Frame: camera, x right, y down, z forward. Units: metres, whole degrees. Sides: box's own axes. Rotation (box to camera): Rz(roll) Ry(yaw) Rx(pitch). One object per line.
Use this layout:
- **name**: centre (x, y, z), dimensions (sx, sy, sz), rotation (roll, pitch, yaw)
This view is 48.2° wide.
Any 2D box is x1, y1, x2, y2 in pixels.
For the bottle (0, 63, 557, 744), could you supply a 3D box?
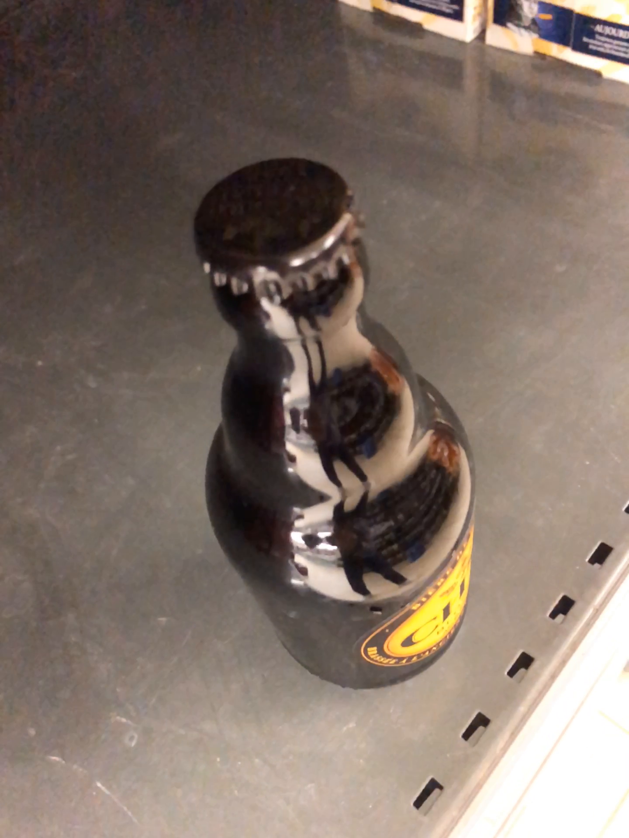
- **bottle**: centre (0.004, 0.015, 0.179), dimensions (0.070, 0.169, 0.070), rotation (-5, 55, 8)
